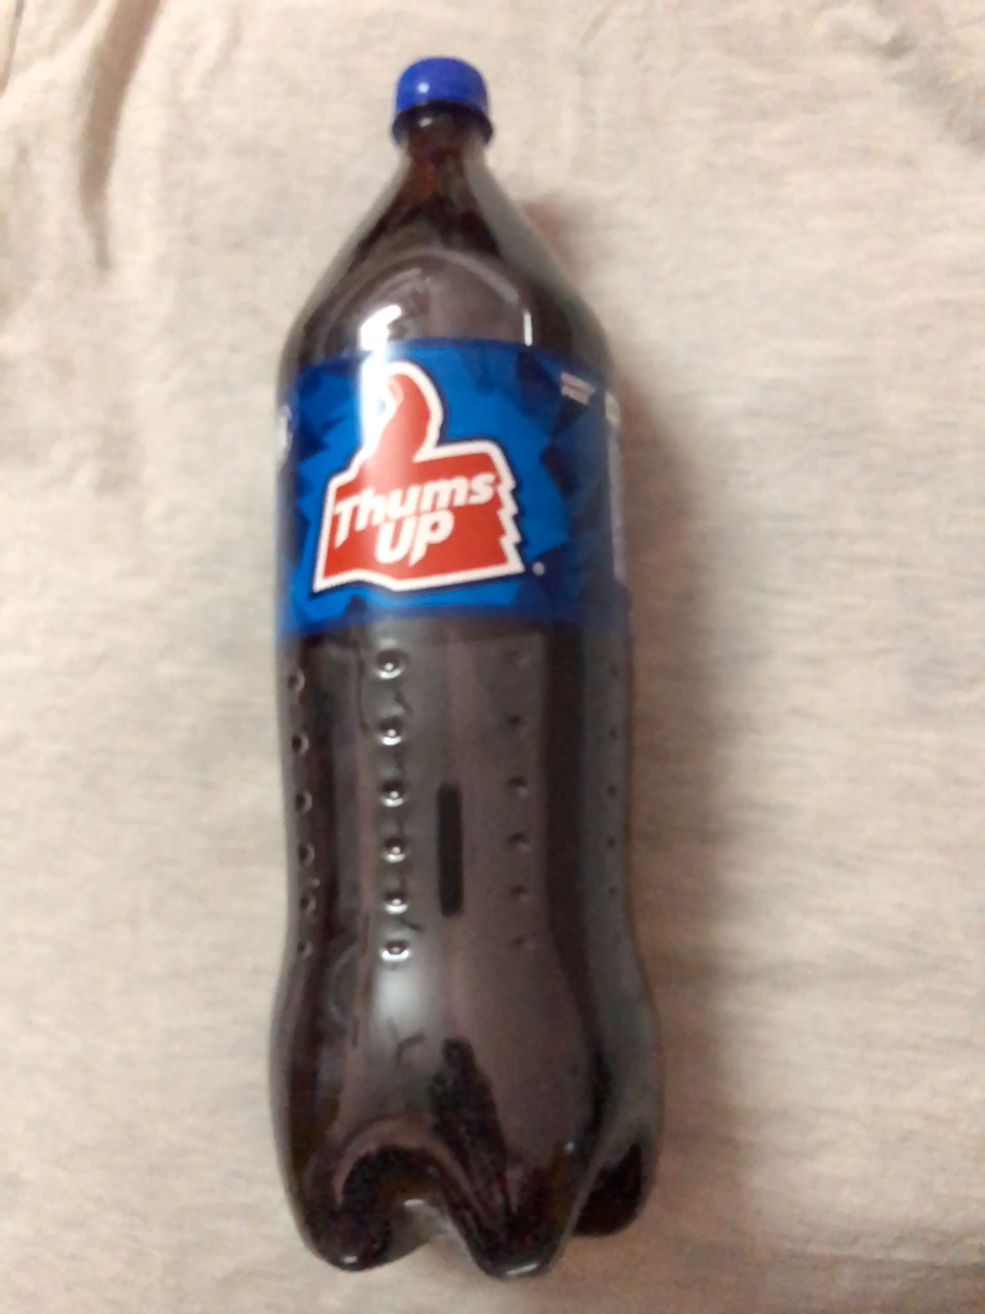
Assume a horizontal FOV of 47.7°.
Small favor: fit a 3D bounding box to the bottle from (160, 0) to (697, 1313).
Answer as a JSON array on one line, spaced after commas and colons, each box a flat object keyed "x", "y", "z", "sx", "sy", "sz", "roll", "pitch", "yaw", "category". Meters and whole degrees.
[{"x": -0.016, "y": -0.022, "z": 0.262, "sx": 0.100, "sy": 0.060, "sz": 0.300, "roll": -5, "pitch": 79, "yaw": 12, "category": "bottle"}]
